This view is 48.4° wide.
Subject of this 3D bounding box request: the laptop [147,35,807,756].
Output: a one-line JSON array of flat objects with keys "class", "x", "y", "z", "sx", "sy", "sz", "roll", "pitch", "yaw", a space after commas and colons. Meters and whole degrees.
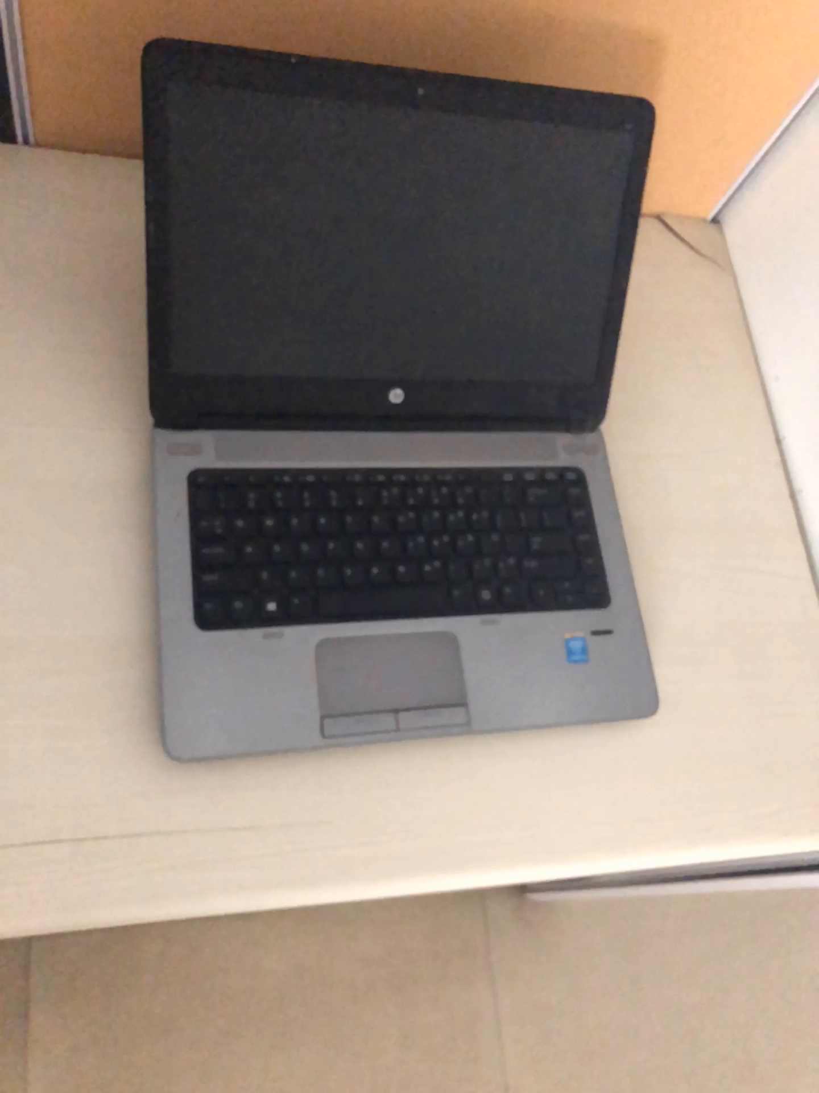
[{"class": "laptop", "x": 0.013, "y": -0.088, "z": 0.579, "sx": 0.324, "sy": 0.167, "sz": 0.372, "roll": -3, "pitch": 71, "yaw": -17}]
